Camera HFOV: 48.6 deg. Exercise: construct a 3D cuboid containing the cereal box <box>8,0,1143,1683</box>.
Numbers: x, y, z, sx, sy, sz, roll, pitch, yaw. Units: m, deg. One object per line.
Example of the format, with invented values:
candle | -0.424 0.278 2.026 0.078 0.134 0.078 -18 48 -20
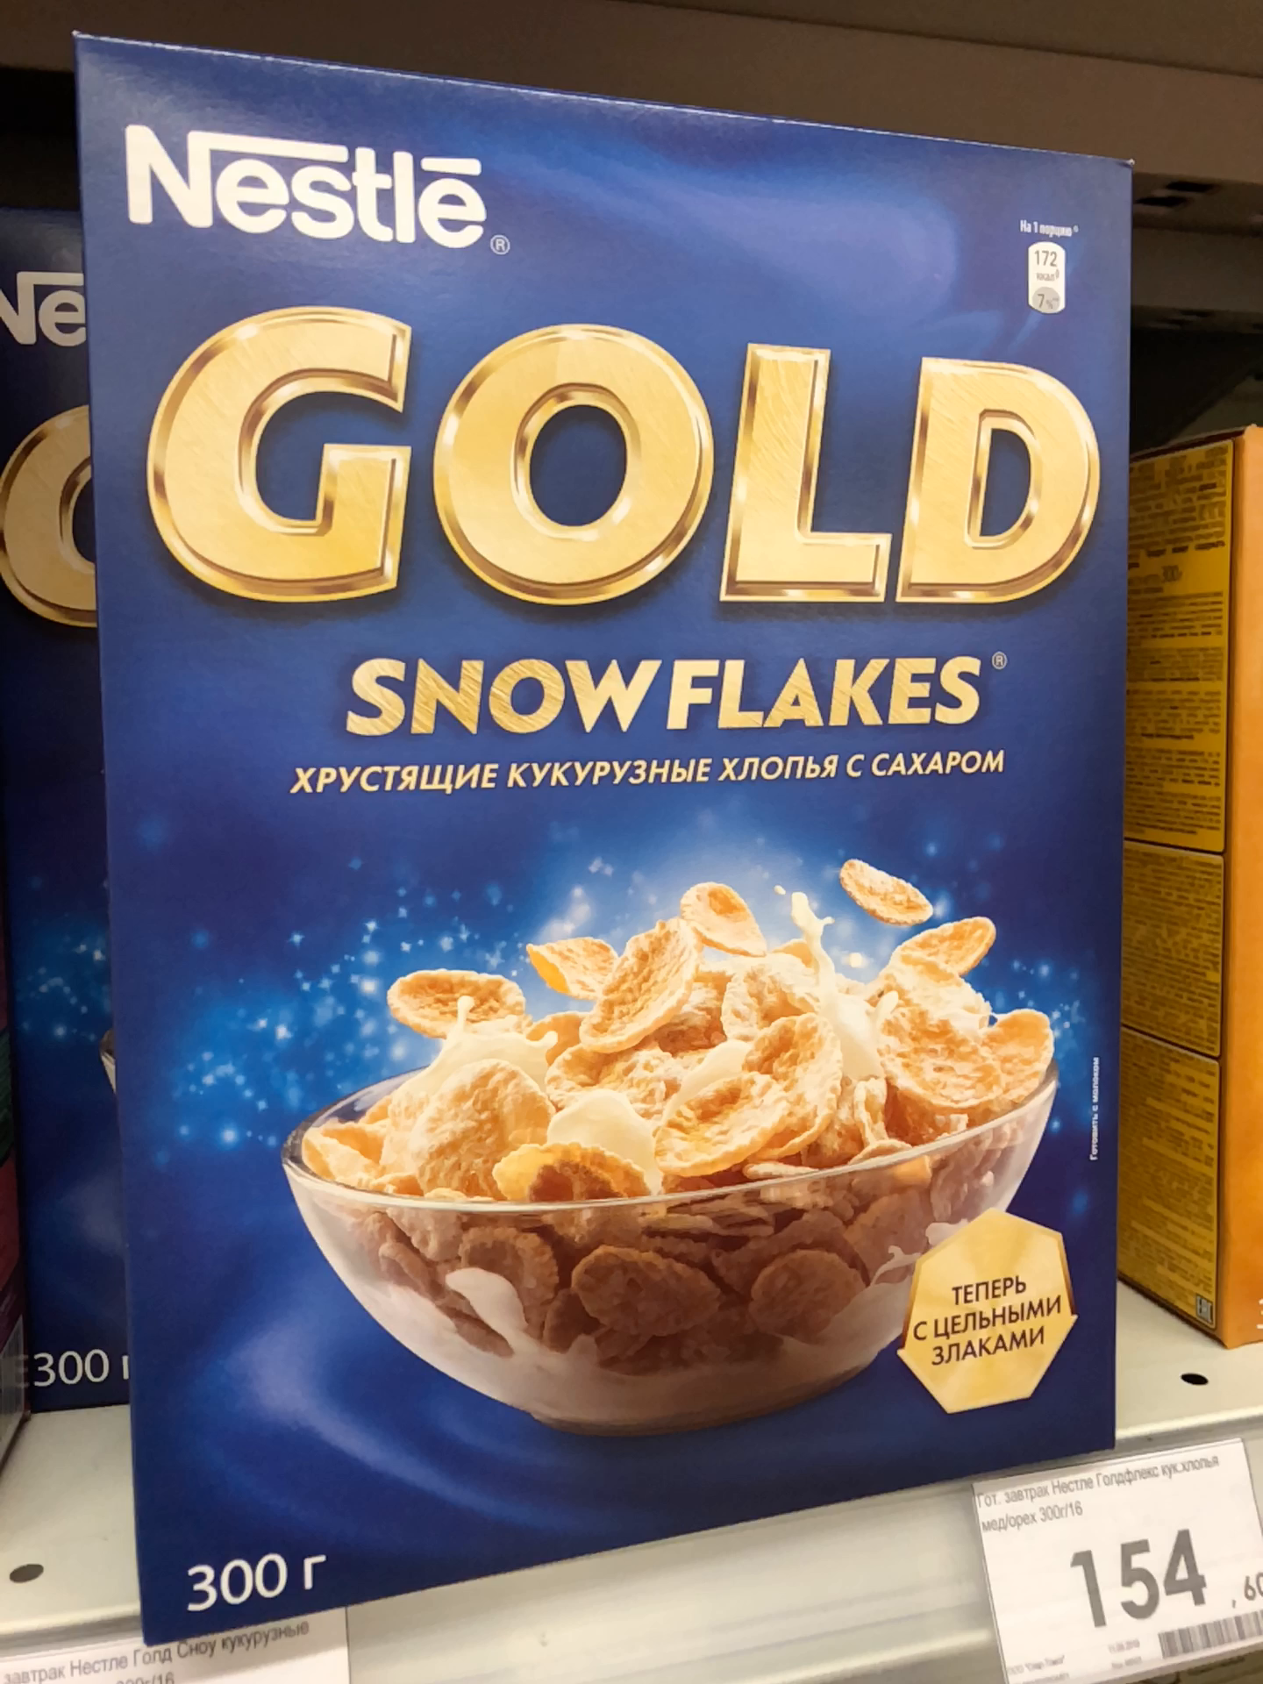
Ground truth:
cereal box | -0.002 0.000 0.273 0.200 0.270 0.050 -3 5 -17
